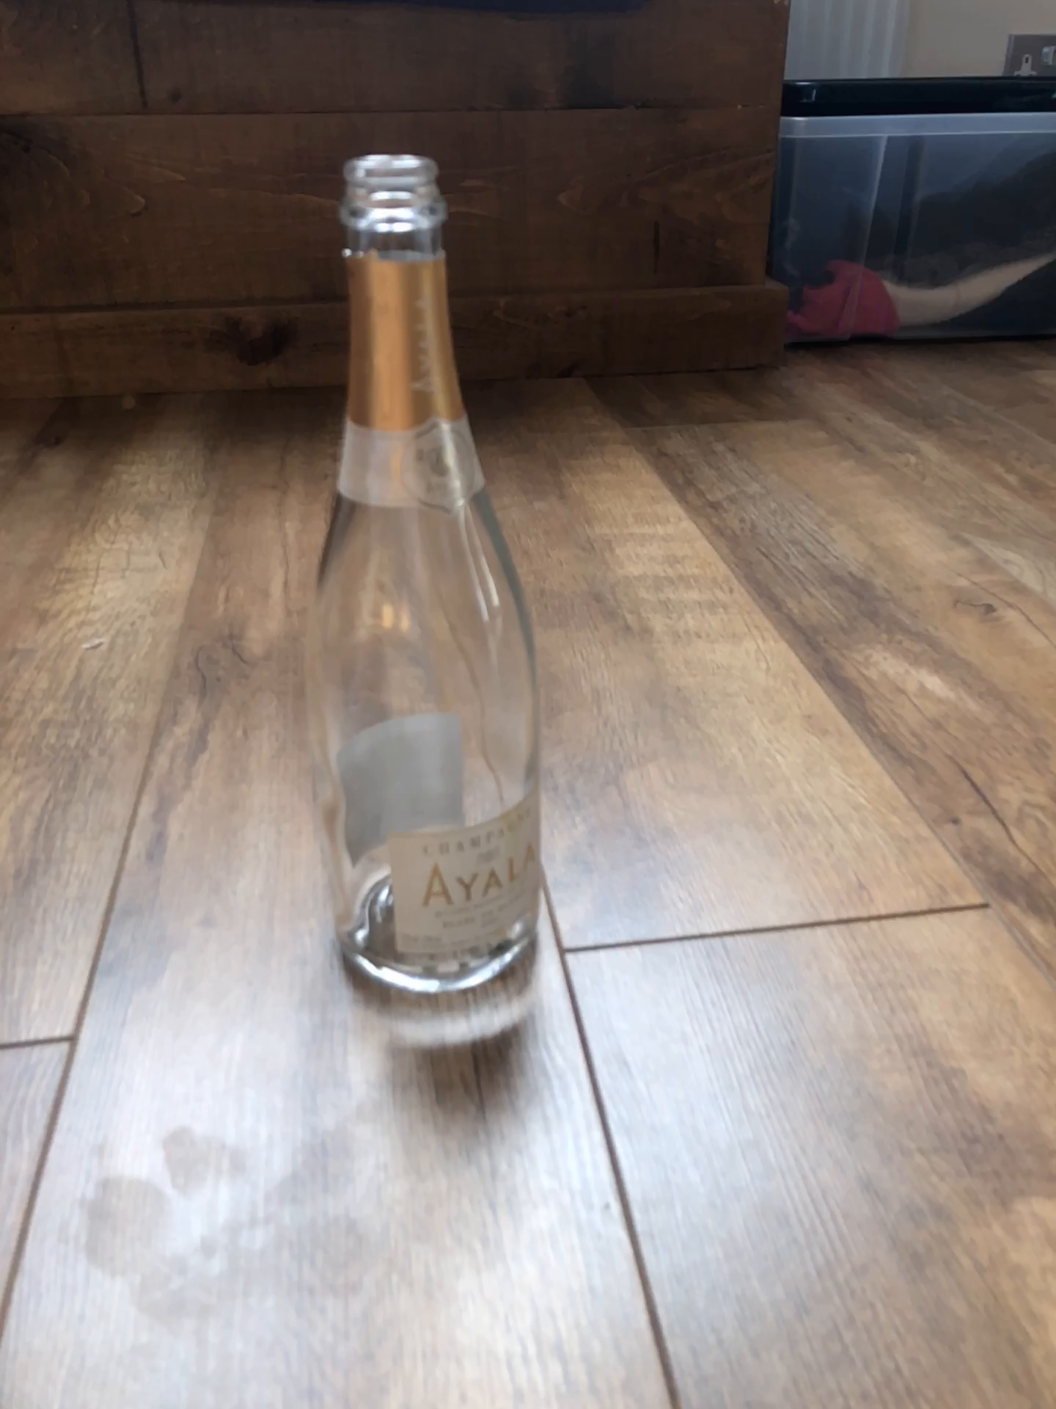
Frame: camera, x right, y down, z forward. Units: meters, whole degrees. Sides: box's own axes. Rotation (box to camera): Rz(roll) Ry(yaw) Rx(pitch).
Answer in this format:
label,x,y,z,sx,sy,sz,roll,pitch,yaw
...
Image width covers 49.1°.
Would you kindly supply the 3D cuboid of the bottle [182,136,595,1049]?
label,x,y,z,sx,sy,sz,roll,pitch,yaw
bottle,-0.041,-0.033,0.413,0.090,0.298,0.090,-1,29,0
